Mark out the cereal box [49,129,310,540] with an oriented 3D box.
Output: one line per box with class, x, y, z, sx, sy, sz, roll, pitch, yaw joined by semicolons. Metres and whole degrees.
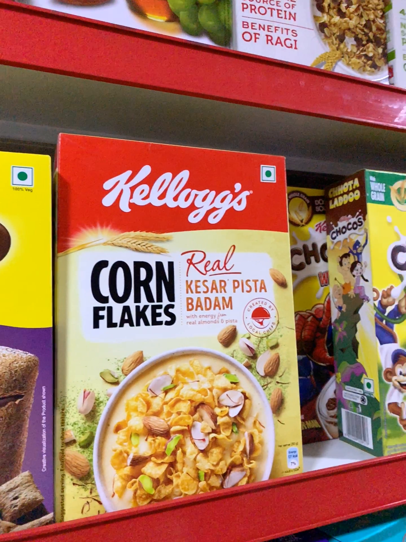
cereal box;-0.021;0.036;0.325;0.180;0.251;0.070;1;-6;-21
